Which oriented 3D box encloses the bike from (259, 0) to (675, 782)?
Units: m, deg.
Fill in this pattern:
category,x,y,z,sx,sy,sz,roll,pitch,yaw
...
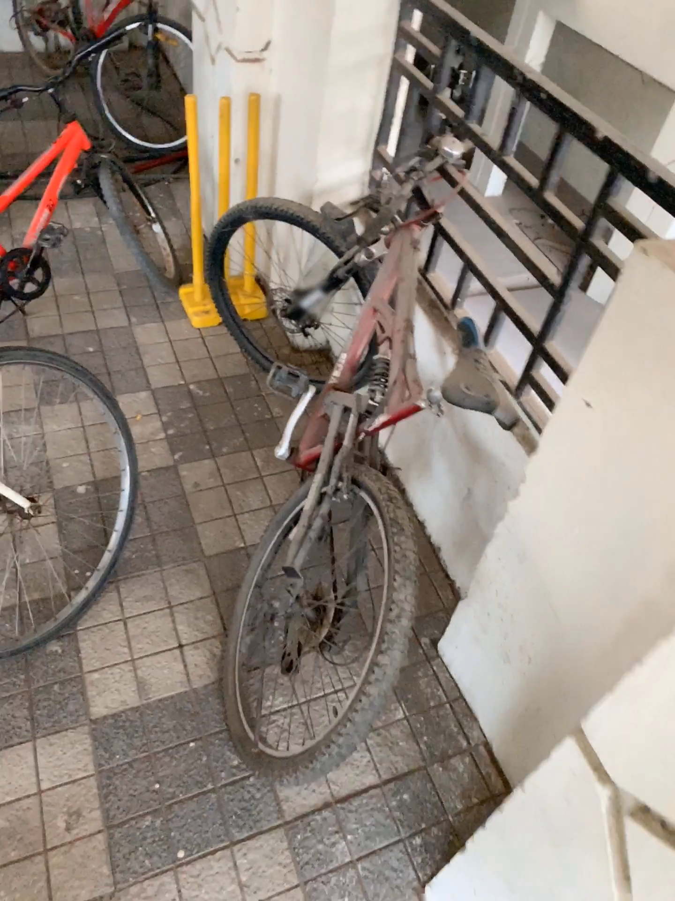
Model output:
category,x,y,z,sx,sy,sz,roll,pitch,yaw
bike,0.214,-0.225,1.590,0.608,0.832,1.468,-3,56,-13
